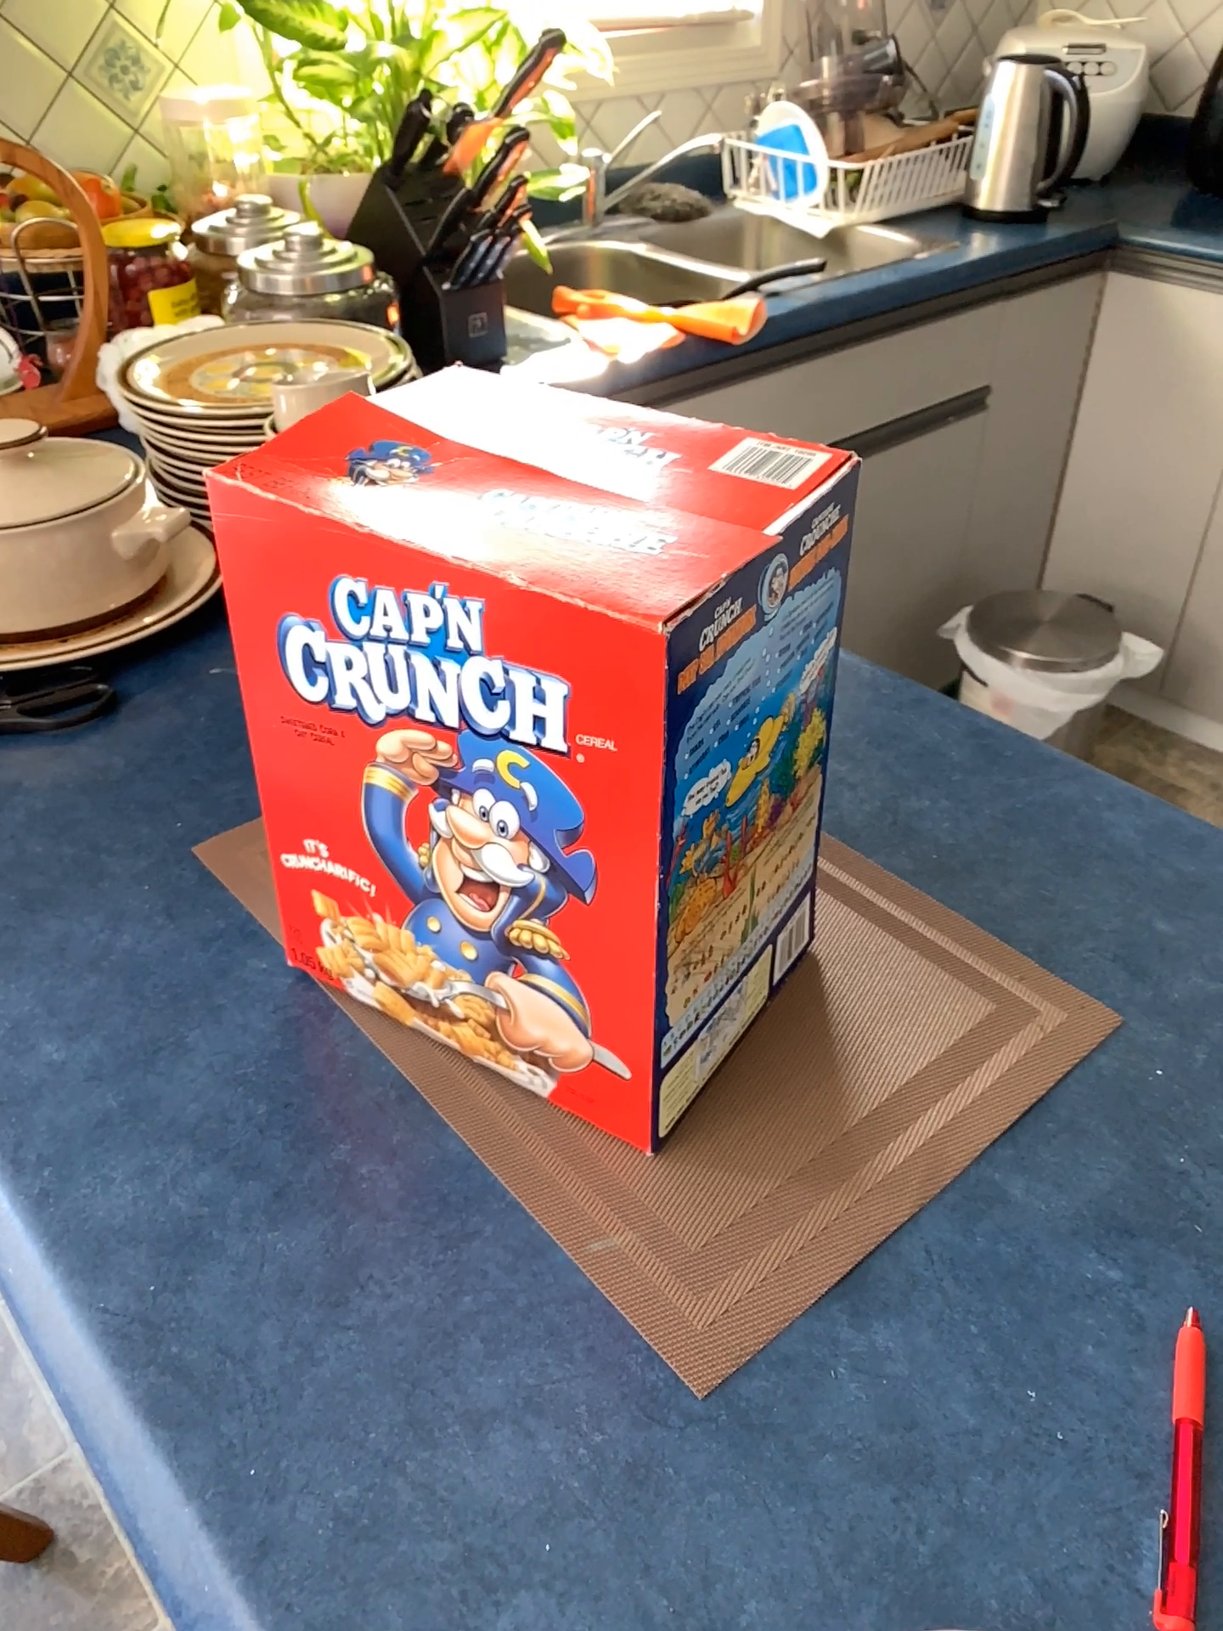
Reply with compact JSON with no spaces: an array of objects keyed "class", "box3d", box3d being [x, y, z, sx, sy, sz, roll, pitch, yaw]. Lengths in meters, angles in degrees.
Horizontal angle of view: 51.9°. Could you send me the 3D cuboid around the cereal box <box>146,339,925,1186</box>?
[{"class":"cereal box","box3d":[-0.030,-0.043,0.637,0.271,0.297,0.211,21,41,27]}]
